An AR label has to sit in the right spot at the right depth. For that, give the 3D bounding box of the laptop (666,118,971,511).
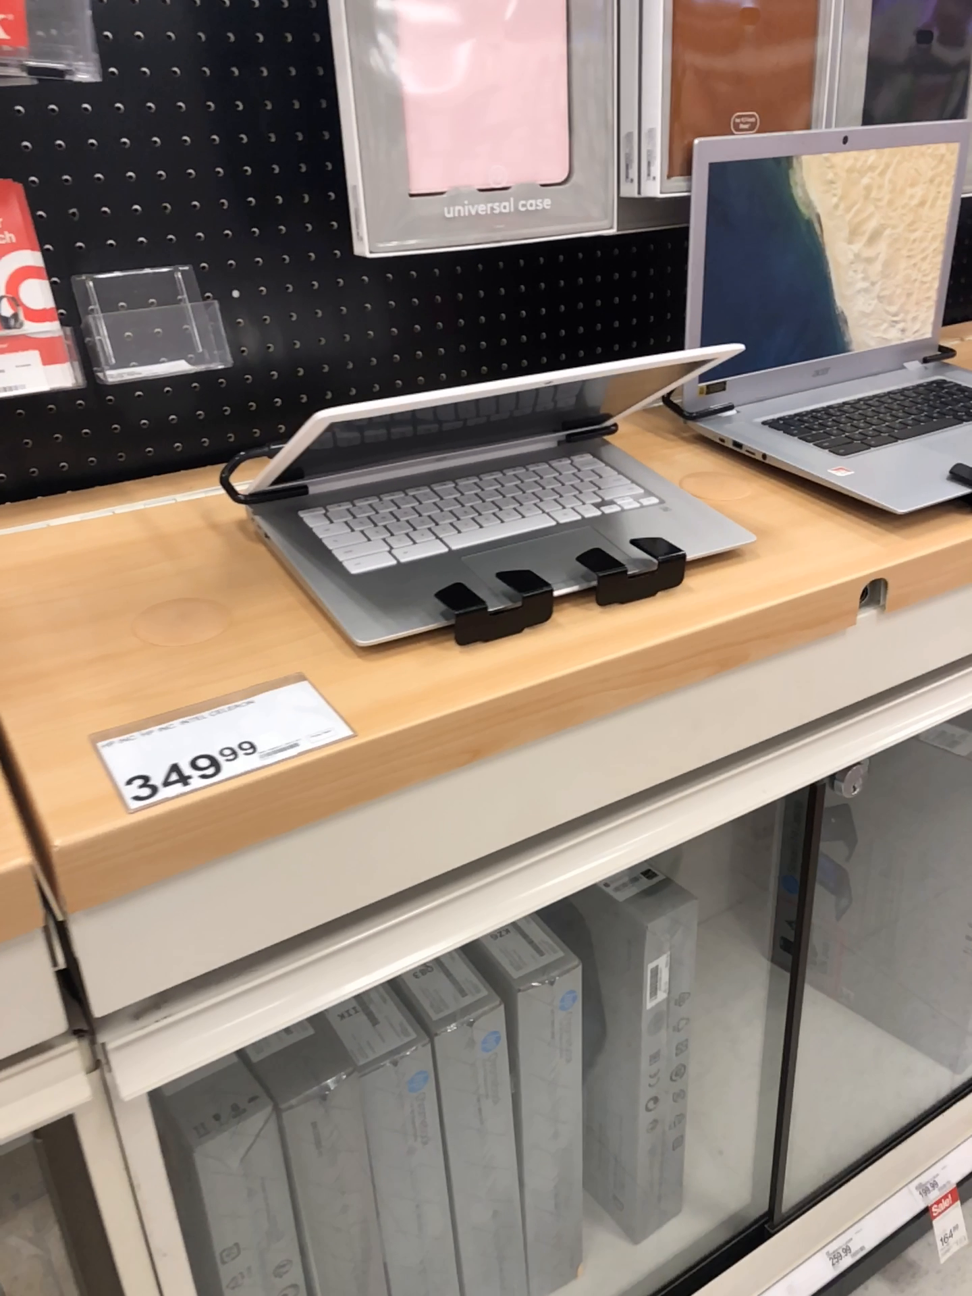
[{"bbox_3d":[0.409,-0.331,0.978,0.389,0.244,0.274,-18,33,-29],"label":"laptop"}]

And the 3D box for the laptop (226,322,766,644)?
[{"bbox_3d":[0.009,-0.143,0.795,0.330,0.100,0.216,-16,36,-26],"label":"laptop"}]
